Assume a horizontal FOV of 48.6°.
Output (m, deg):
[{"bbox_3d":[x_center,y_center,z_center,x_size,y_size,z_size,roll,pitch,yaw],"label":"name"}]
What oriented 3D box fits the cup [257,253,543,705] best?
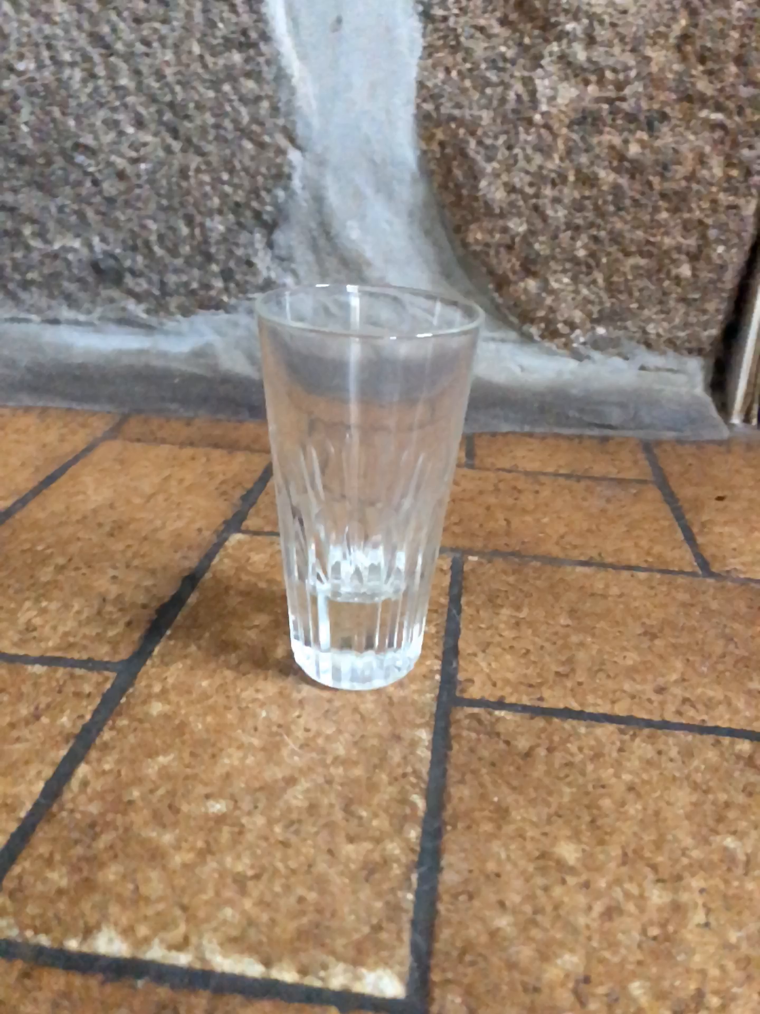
[{"bbox_3d":[0.000,-0.010,0.261,0.070,0.119,0.070,2,24,-1],"label":"cup"}]
